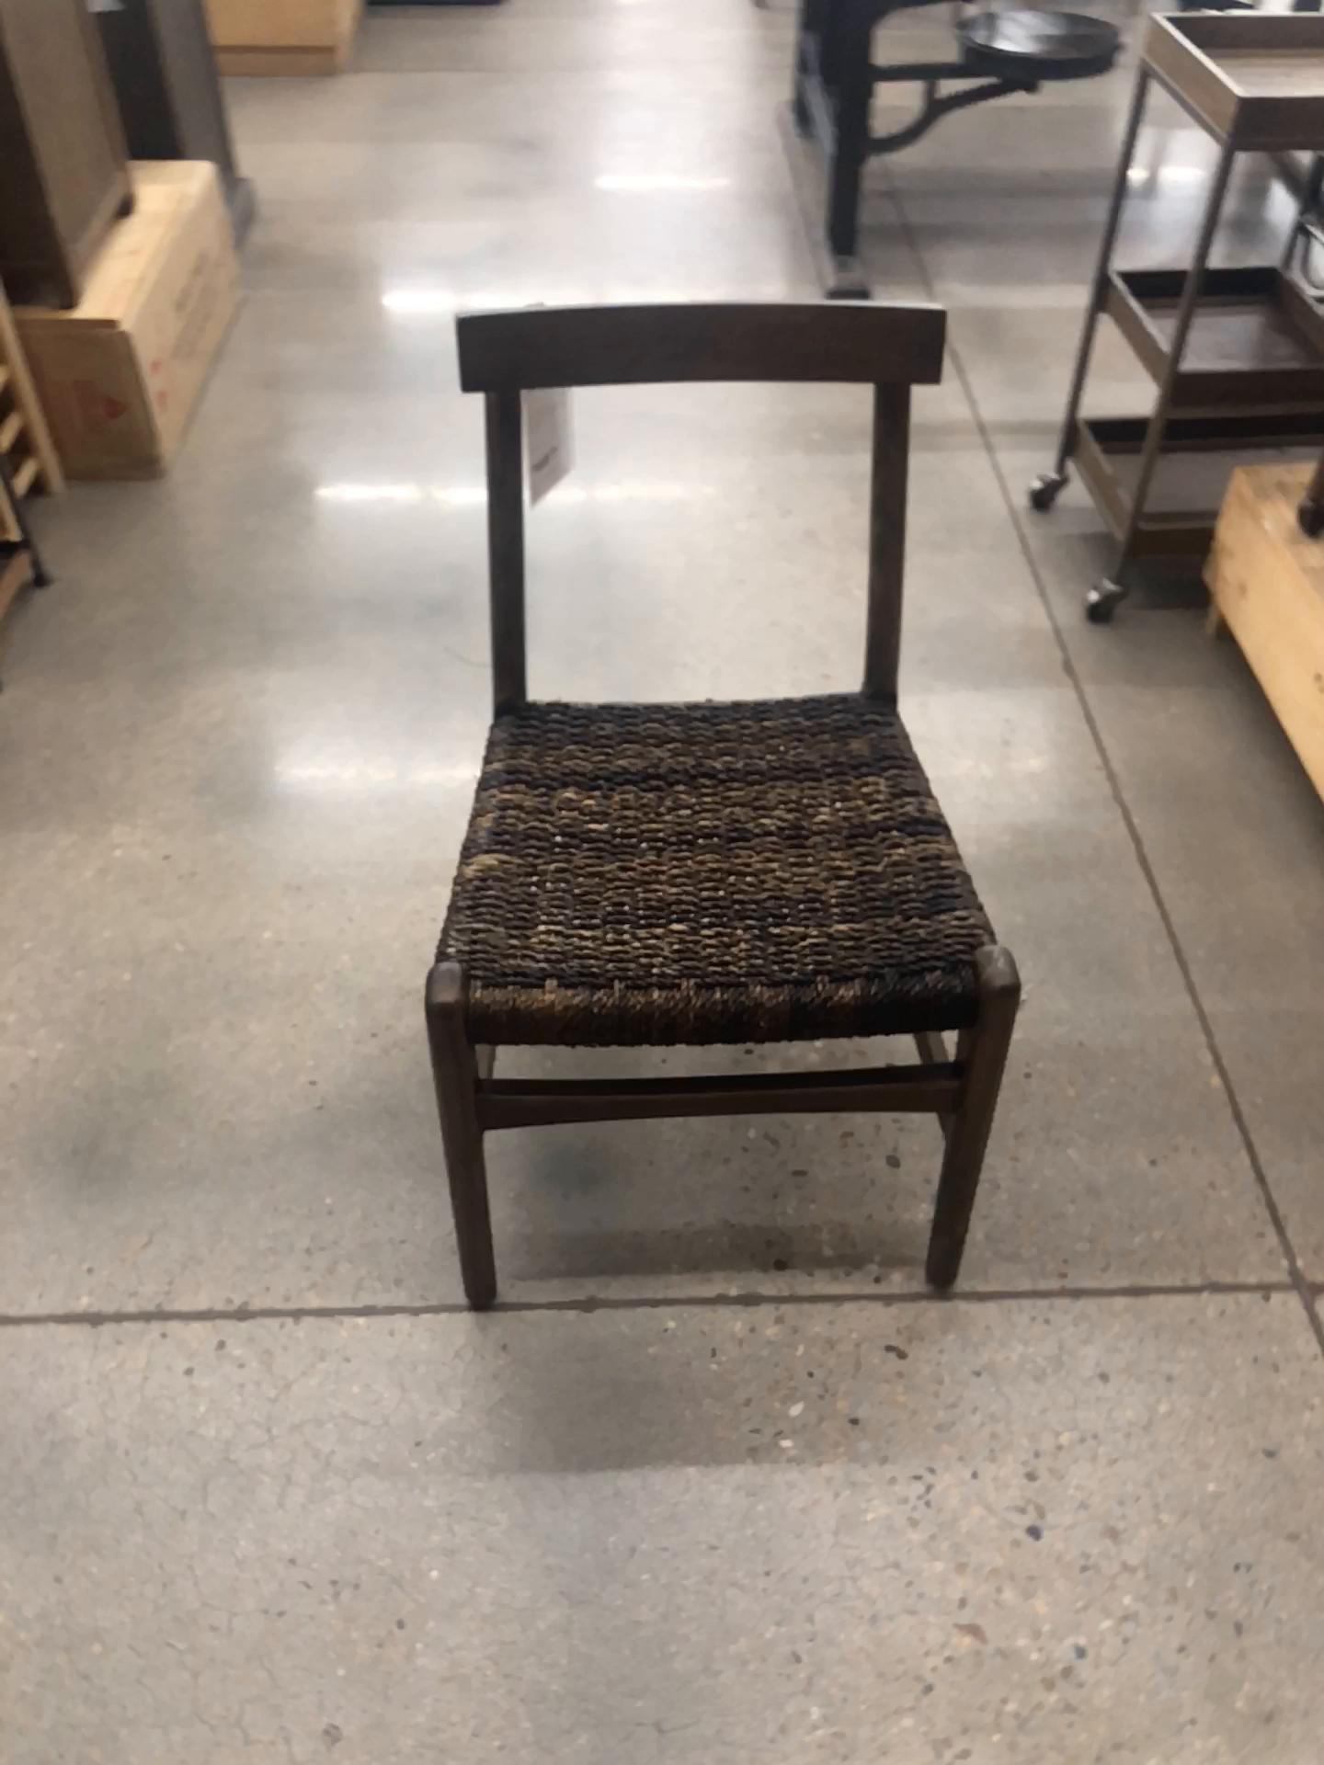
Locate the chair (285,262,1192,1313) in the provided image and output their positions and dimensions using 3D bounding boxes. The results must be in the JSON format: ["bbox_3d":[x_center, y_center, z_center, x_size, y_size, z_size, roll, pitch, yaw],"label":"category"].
[{"bbox_3d":[0.036,-0.055,1.358,0.548,0.816,0.535,-1,45,-2],"label":"chair"}]
